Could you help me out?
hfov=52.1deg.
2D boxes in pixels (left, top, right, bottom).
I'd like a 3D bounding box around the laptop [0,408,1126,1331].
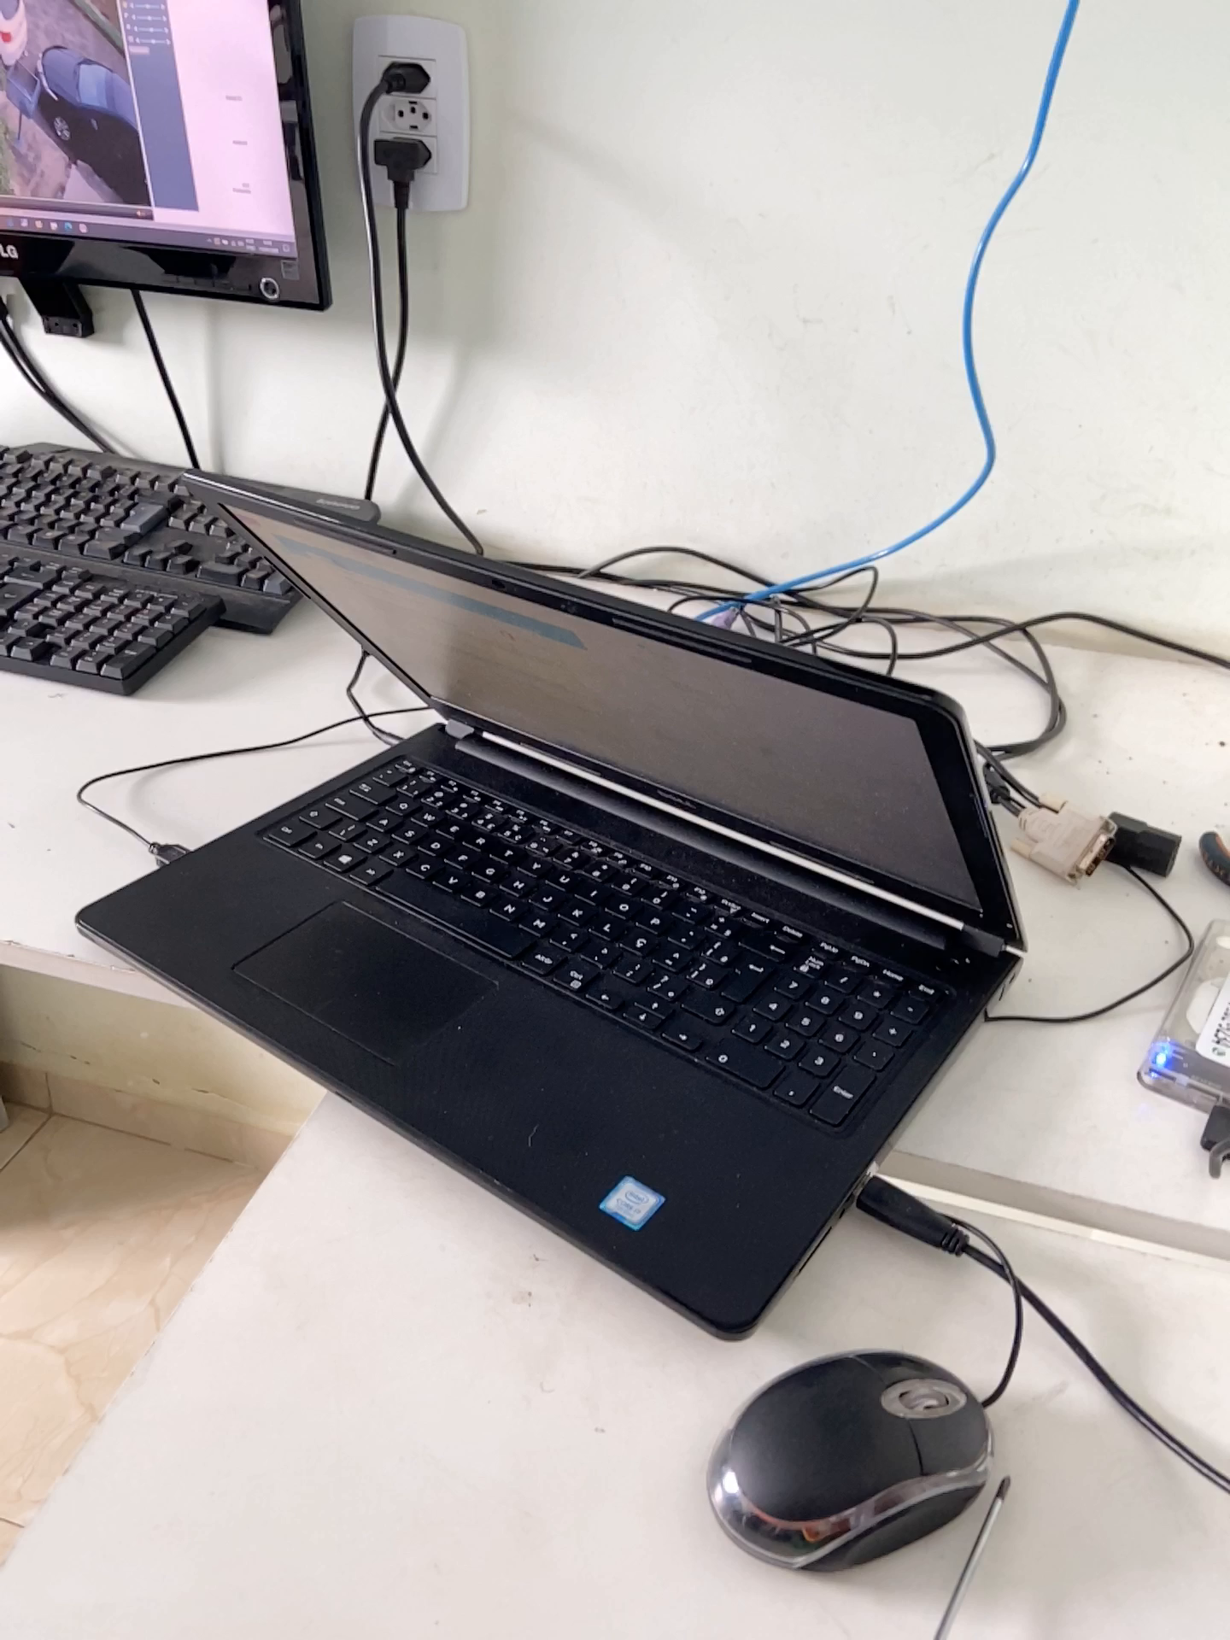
[{"bbox_3d":[-0.028,-0.024,0.552,0.372,0.192,0.256,23,37,28],"label":"laptop"}]
